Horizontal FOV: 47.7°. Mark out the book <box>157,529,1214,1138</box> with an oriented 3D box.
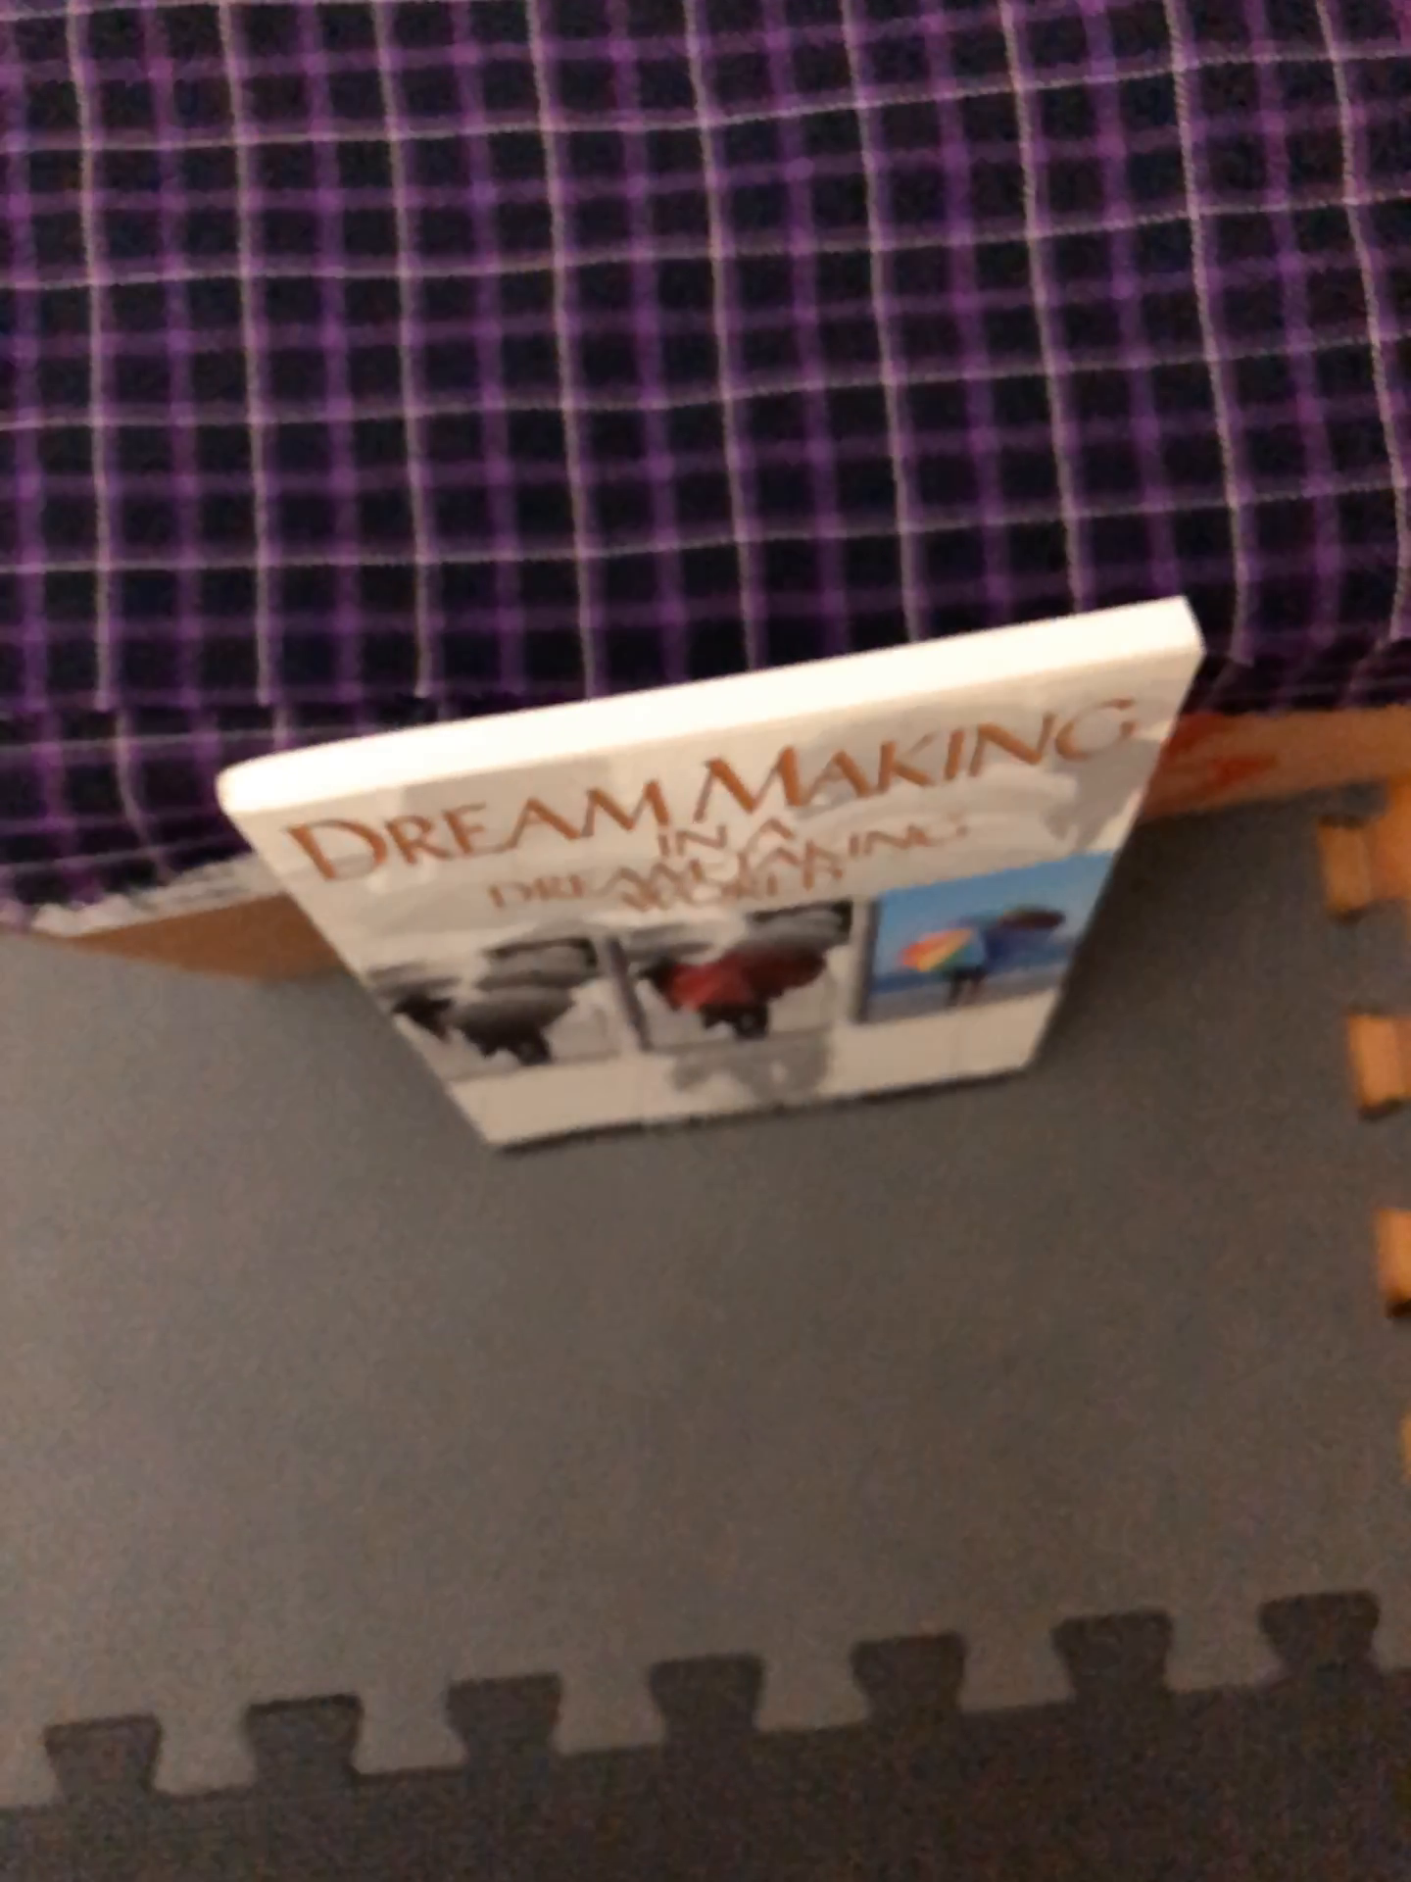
[{"bbox_3d":[0.004,-0.003,0.331,0.150,0.220,0.020,-6,69,2],"label":"book"}]
